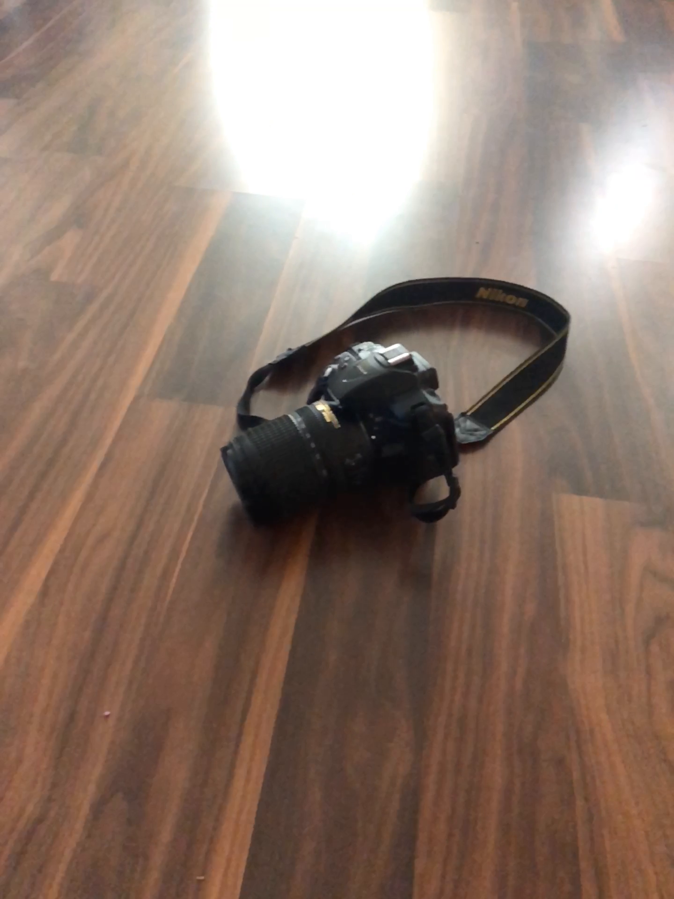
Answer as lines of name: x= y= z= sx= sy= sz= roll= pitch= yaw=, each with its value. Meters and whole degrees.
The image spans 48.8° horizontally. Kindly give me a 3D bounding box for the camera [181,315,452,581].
camera: x=-0.015 y=-0.003 z=0.621 sx=0.180 sy=0.130 sz=0.110 roll=-21 pitch=50 yaw=-15
